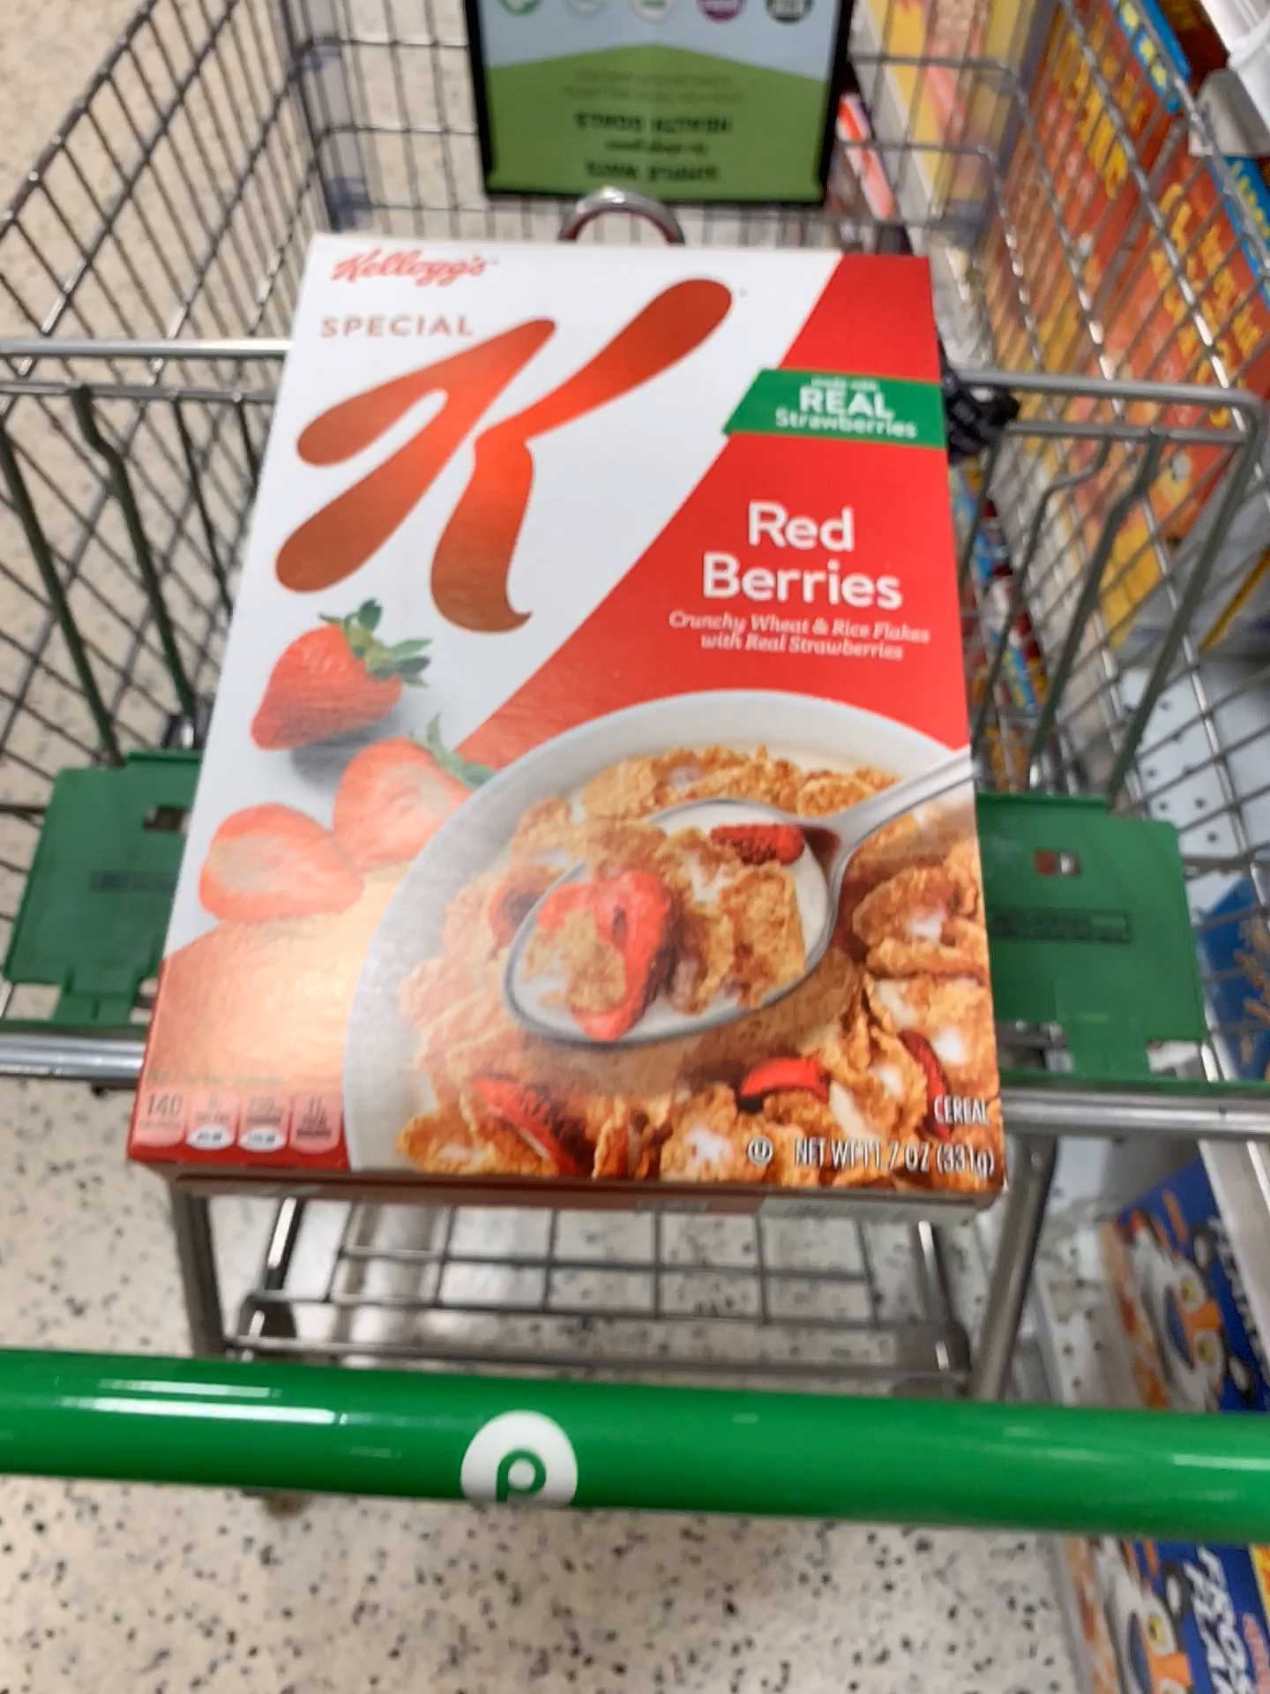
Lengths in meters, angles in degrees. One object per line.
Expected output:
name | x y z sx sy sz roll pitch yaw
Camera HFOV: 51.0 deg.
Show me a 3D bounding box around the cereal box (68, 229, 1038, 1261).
cereal box | -0.012 -0.042 0.358 0.200 0.050 0.282 3 64 0
